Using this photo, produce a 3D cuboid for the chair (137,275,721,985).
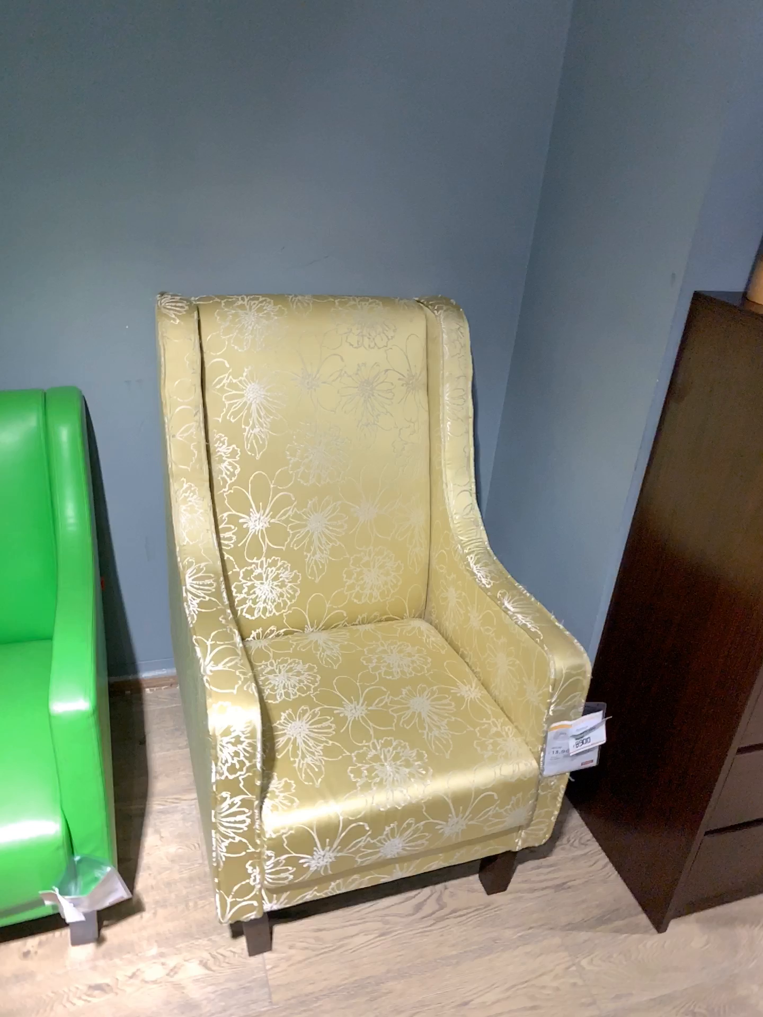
[{"bbox_3d":[-0.060,0.135,1.658,0.780,1.026,0.953,-4,29,-19],"label":"chair"}]
